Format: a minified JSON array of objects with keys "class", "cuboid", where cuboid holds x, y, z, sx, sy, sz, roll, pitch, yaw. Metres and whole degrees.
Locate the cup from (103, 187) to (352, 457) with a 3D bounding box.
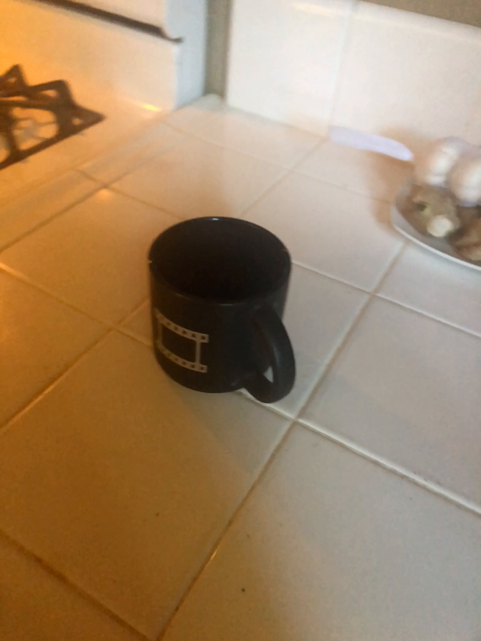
[{"class":"cup","cuboid":[-0.015,-0.005,0.347,0.090,0.089,0.131,-24,51,-27]}]
